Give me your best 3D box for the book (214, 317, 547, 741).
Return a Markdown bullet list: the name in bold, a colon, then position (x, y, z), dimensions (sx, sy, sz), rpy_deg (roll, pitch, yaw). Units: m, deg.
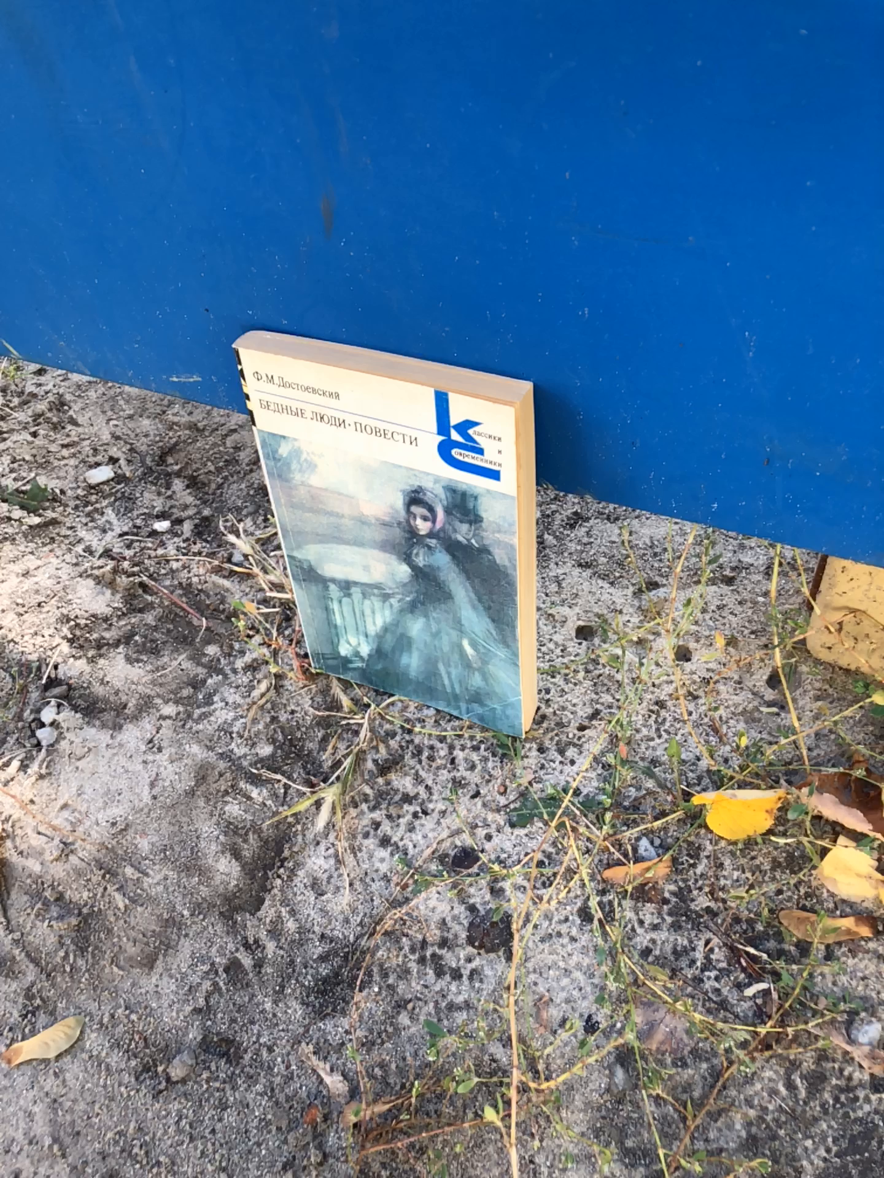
- **book**: position (-0.019, -0.019, 0.428), dimensions (0.127, 0.187, 0.026), rpy_deg (16, 49, 21)
